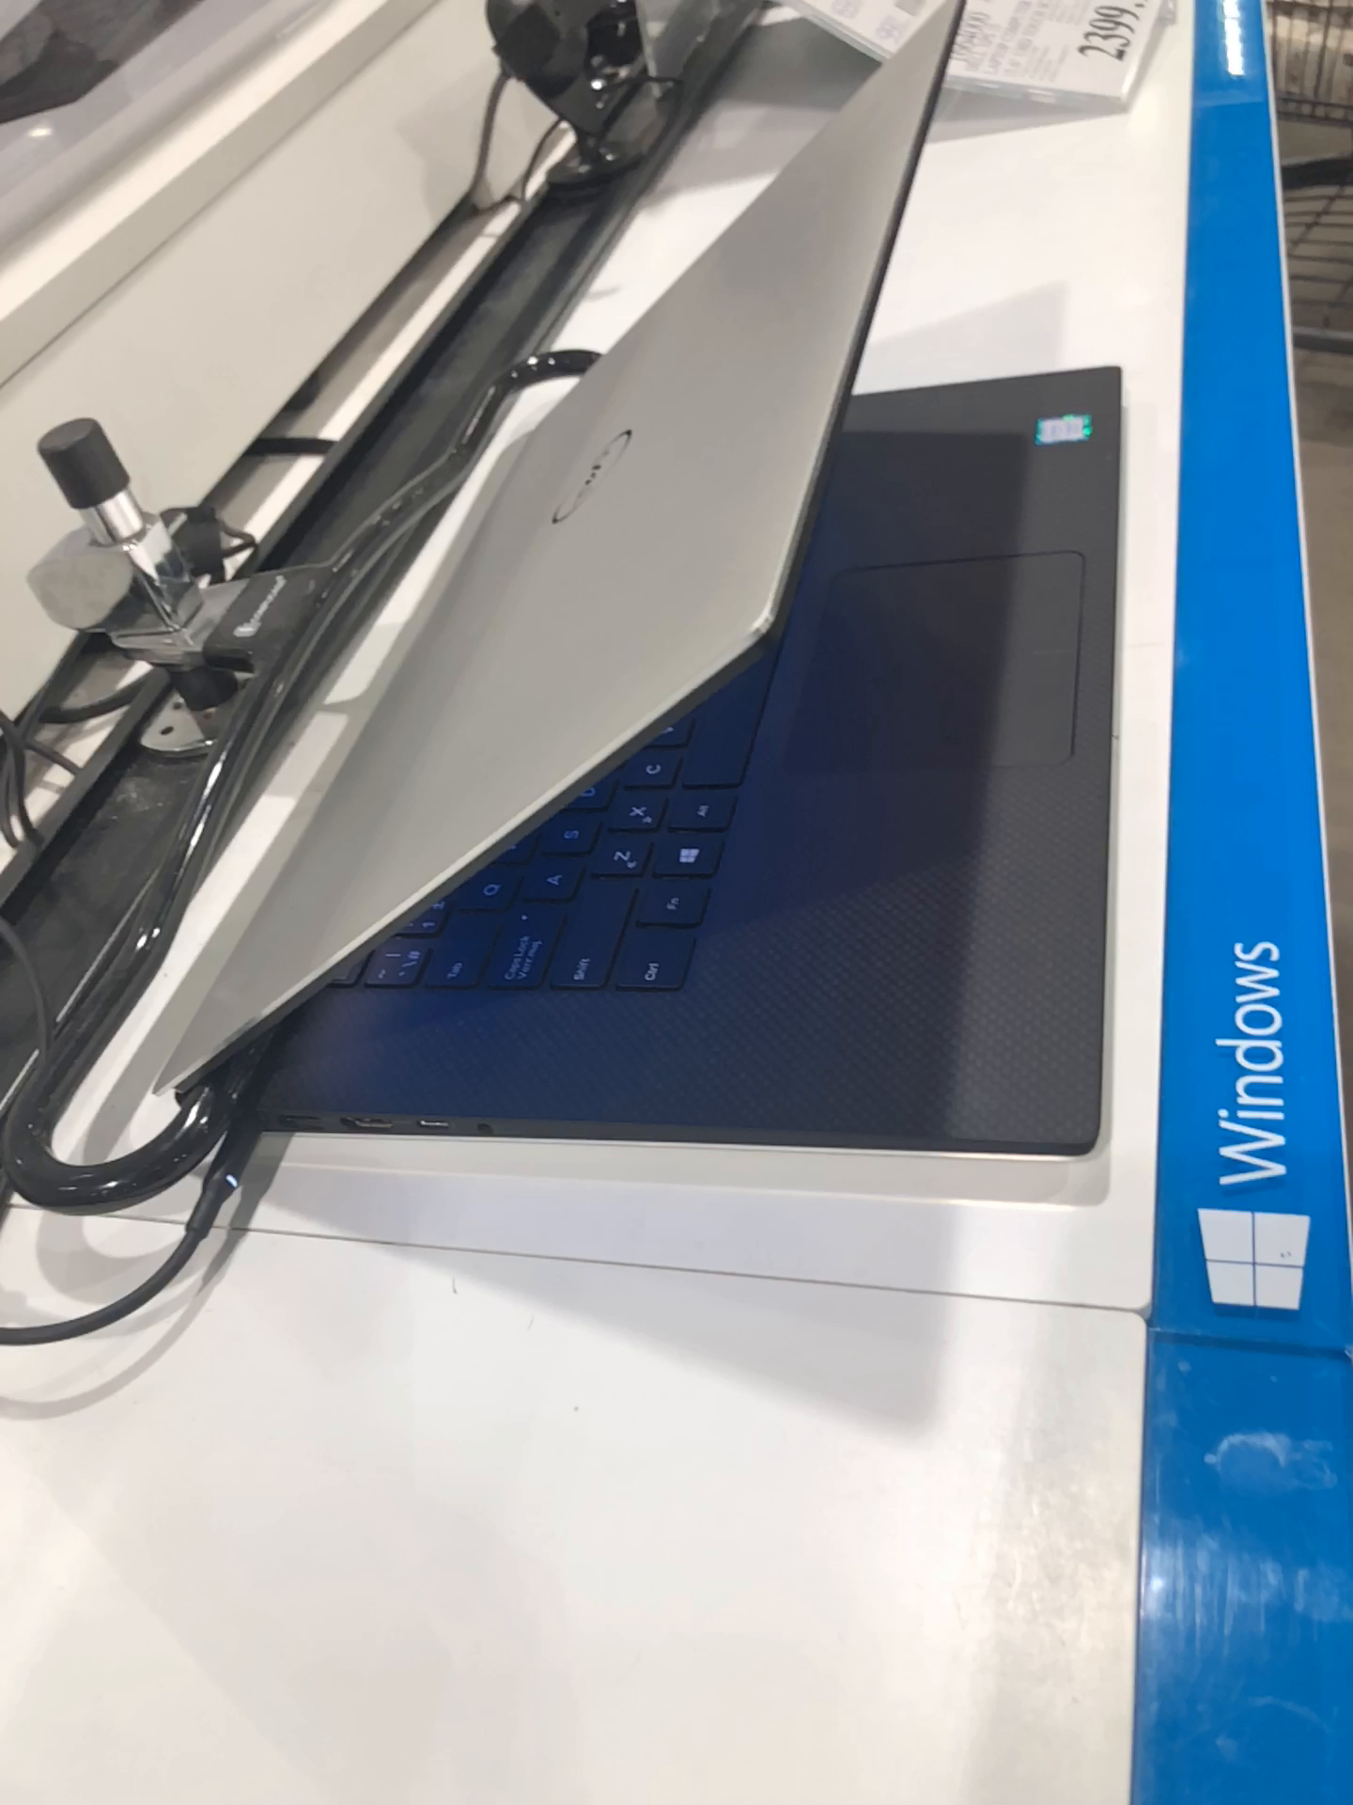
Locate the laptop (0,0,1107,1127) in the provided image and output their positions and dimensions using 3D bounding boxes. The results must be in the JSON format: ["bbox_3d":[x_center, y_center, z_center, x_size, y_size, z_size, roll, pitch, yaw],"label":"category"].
[{"bbox_3d":[0.005,-0.120,0.422,0.216,0.133,0.347,-1,44,17],"label":"laptop"}]
